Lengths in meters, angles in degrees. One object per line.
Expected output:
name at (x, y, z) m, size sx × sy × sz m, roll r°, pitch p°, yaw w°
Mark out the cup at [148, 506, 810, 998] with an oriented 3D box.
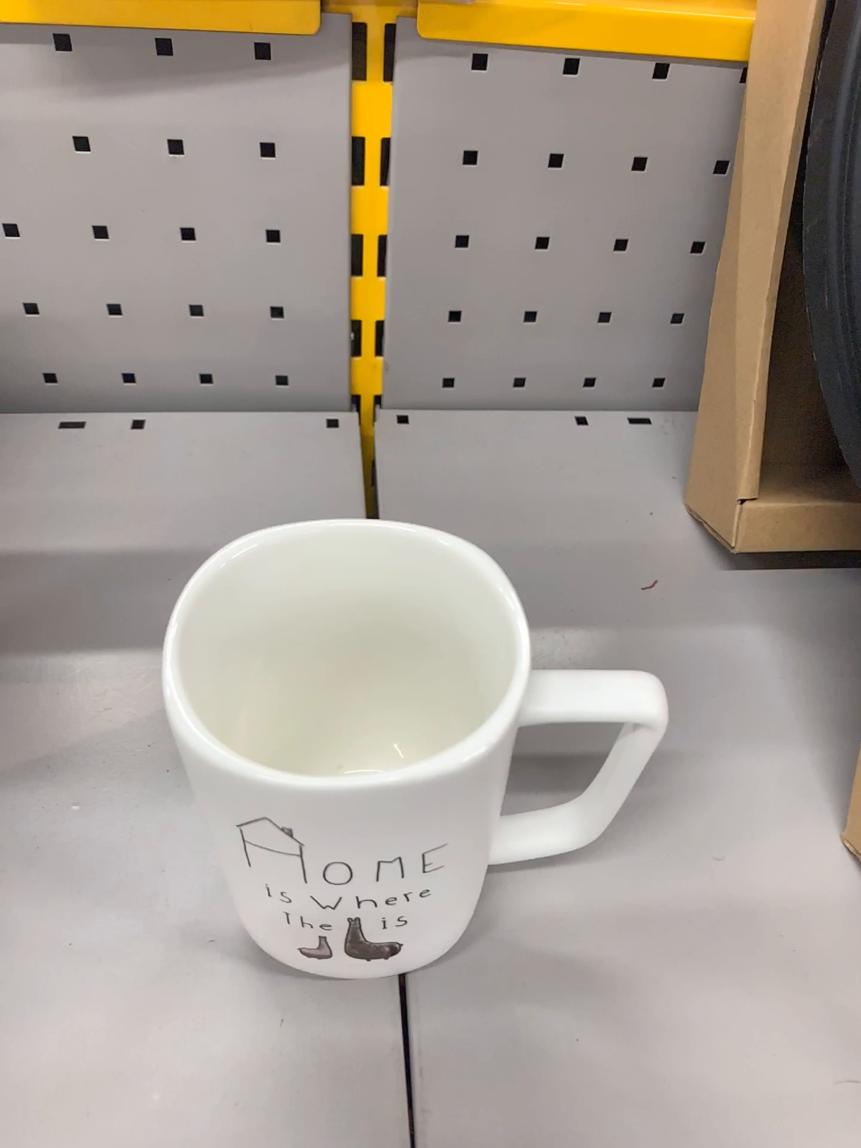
cup at (0.004, 0.045, 0.219) m, size 0.120 × 0.100 × 0.070 m, roll -1°, pitch 45°, yaw -7°
